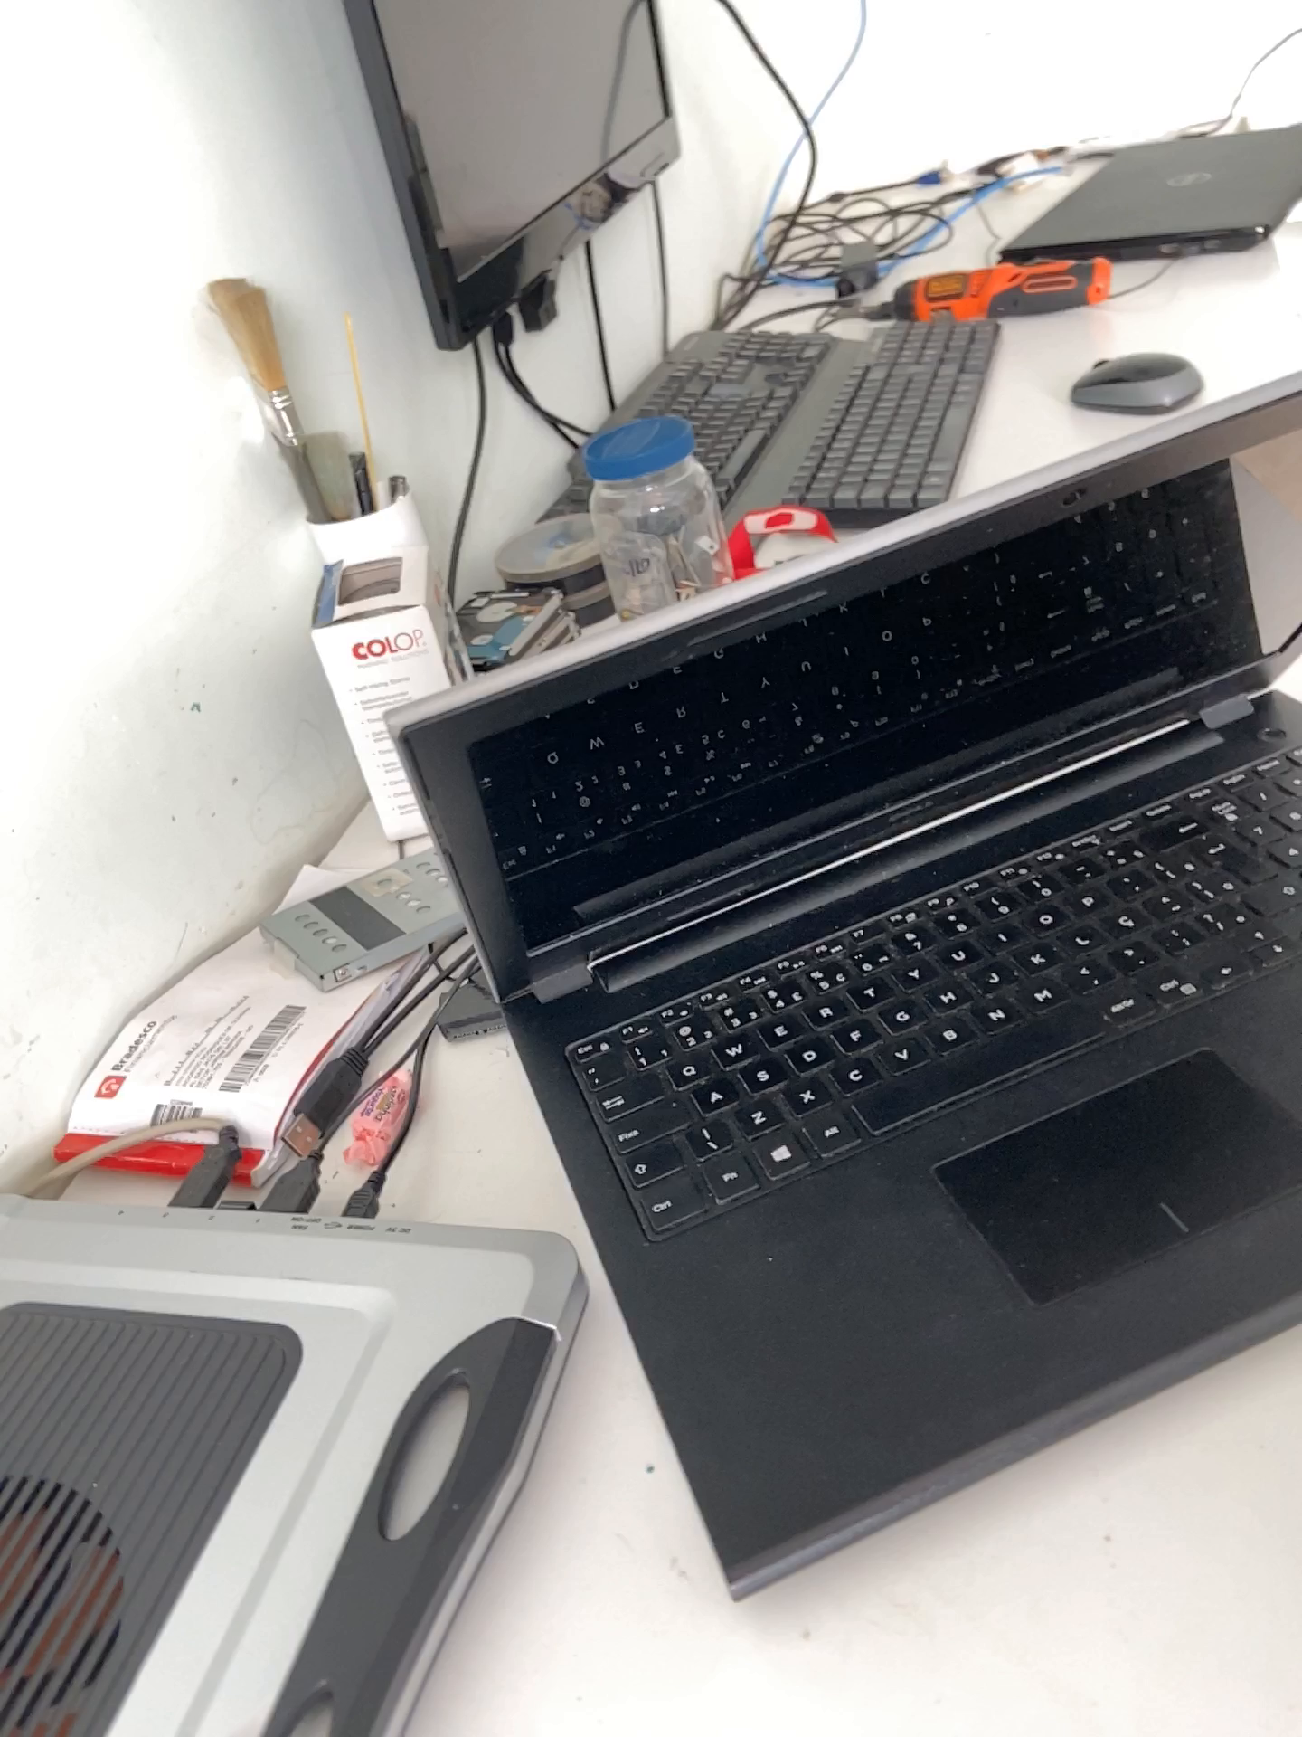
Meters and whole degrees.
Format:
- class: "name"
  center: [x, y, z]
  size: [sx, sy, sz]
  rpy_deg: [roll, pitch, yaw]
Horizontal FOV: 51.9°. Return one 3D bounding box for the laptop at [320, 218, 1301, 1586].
- class: "laptop"
  center: [0.129, -0.032, 0.415]
  size: [0.374, 0.204, 0.258]
  rpy_deg: [-21, 34, -9]
